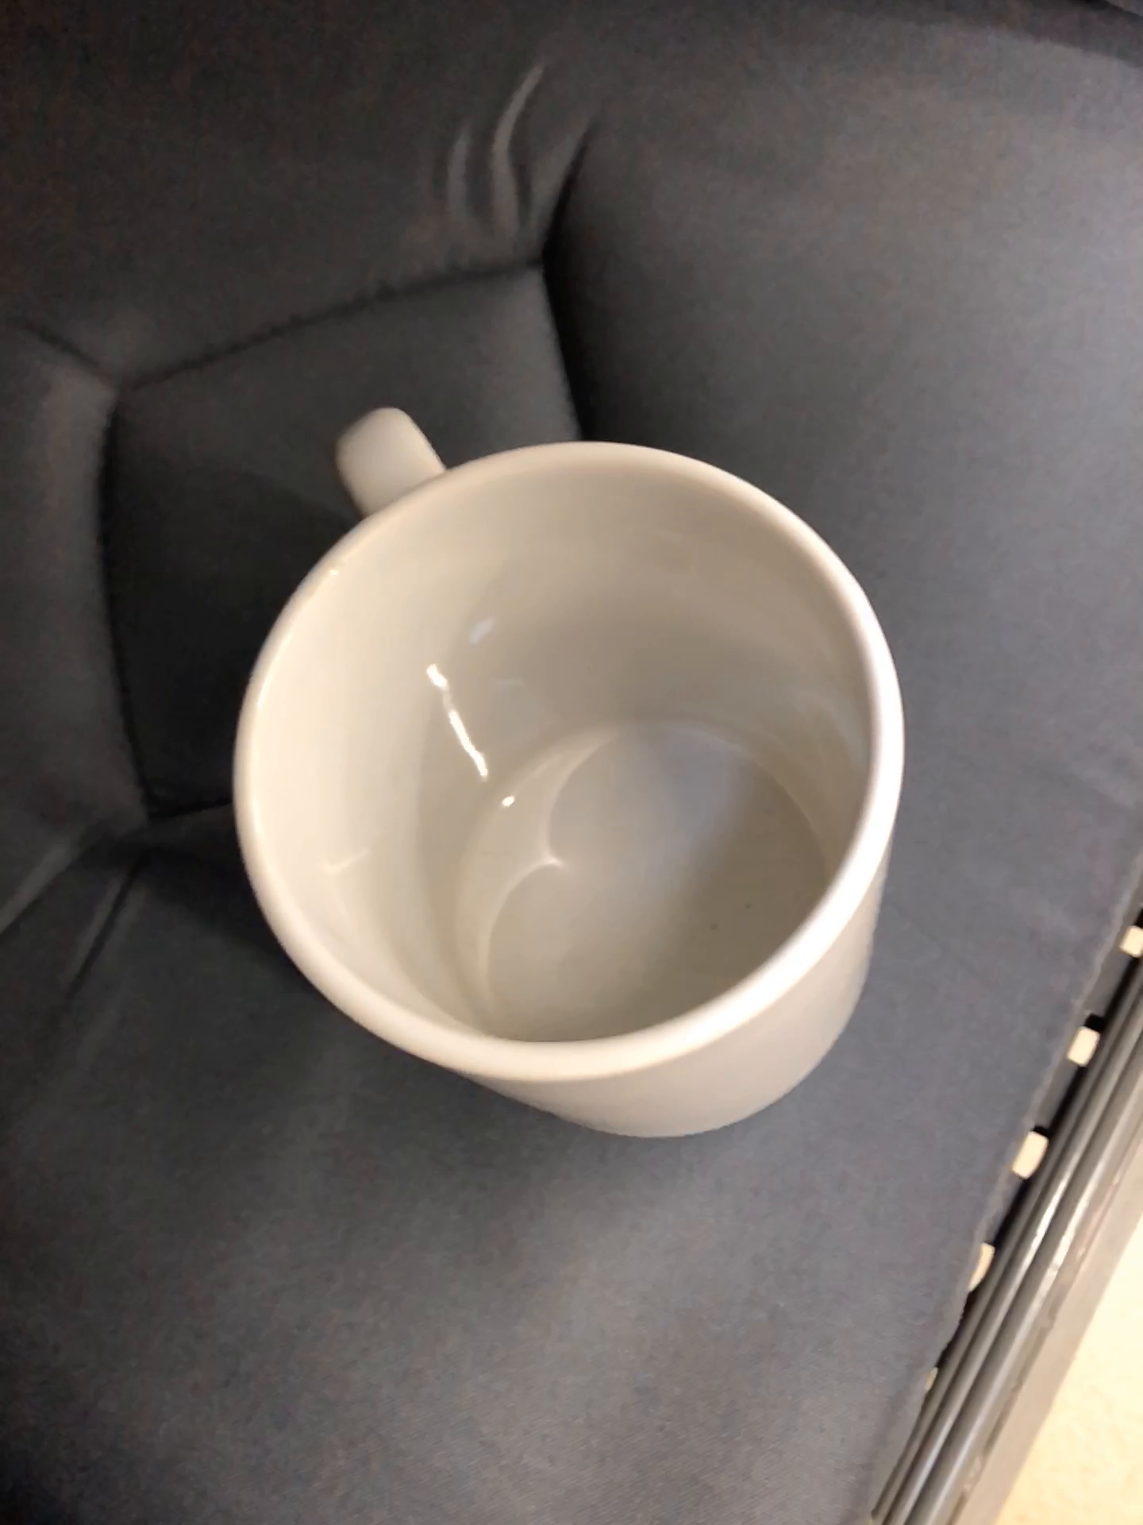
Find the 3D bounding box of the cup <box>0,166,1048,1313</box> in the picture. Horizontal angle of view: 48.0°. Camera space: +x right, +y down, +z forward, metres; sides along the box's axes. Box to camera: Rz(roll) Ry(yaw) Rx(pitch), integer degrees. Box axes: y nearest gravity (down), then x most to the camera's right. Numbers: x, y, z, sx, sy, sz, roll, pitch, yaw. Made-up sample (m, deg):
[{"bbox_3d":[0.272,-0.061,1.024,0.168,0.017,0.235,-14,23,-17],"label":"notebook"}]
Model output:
[{"bbox_3d":[-0.008,0.003,0.205,0.090,0.100,0.120,-31,69,0],"label":"cup"}]
